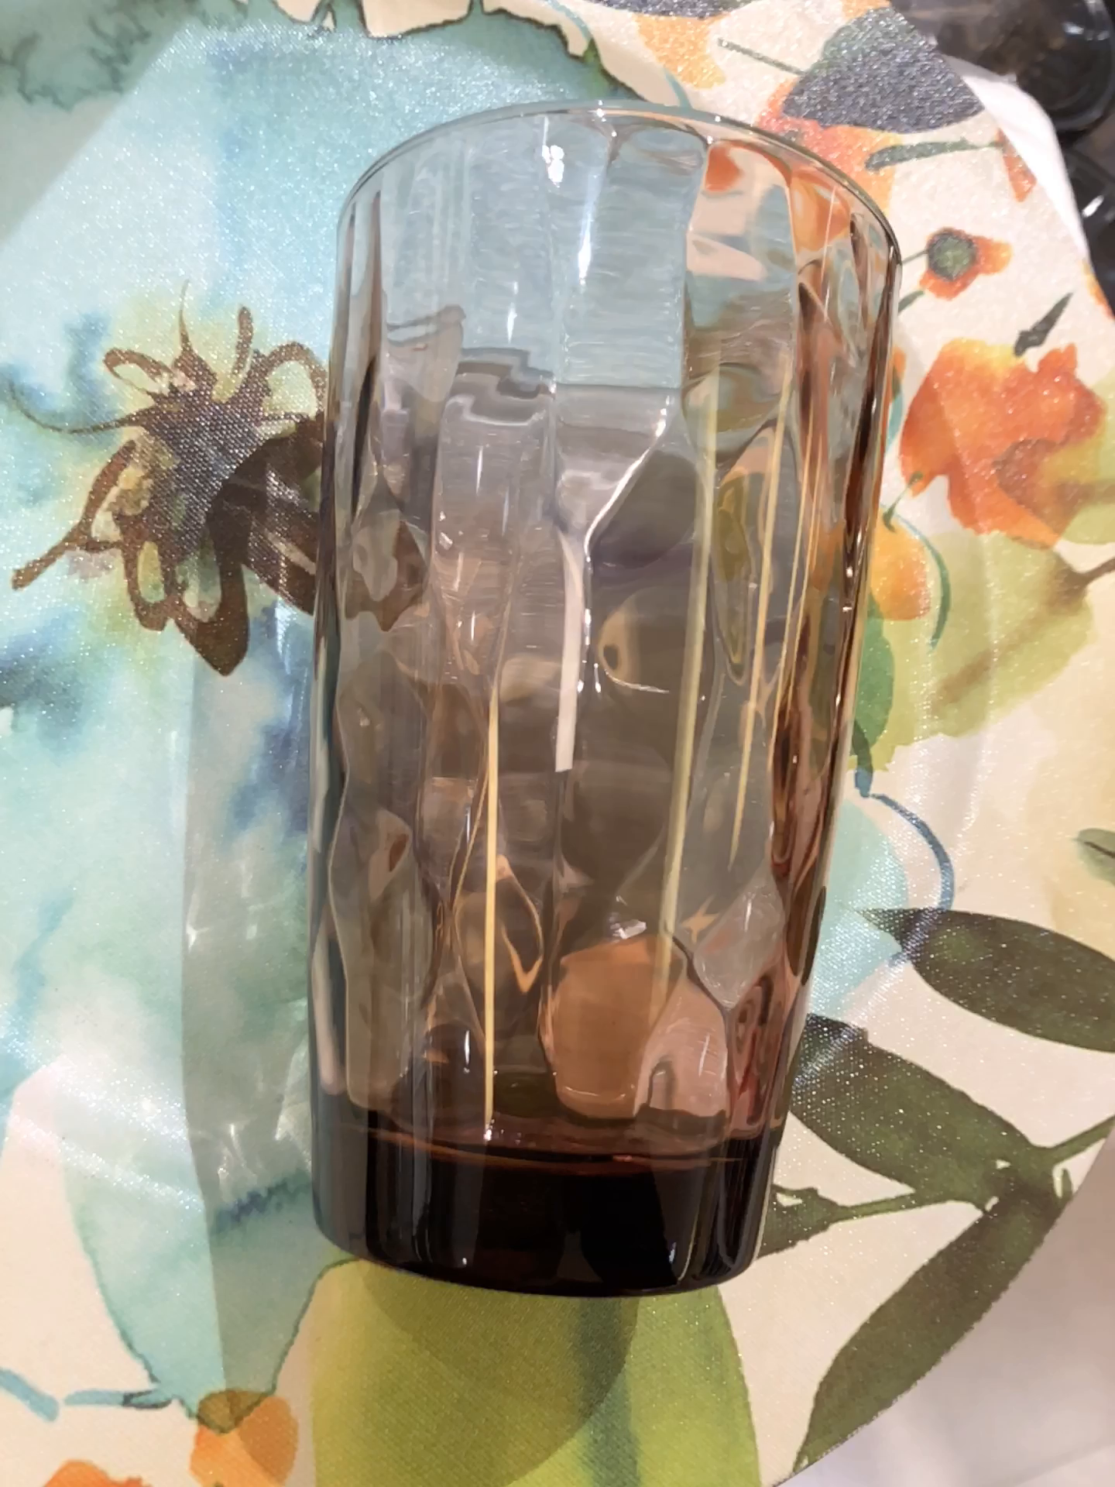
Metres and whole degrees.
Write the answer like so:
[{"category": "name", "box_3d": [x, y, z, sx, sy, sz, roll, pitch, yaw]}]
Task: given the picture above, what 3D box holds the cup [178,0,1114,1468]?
[{"category": "cup", "box_3d": [0.007, 0.000, 0.169, 0.090, 0.080, 0.150, 8, 74, -18]}]
